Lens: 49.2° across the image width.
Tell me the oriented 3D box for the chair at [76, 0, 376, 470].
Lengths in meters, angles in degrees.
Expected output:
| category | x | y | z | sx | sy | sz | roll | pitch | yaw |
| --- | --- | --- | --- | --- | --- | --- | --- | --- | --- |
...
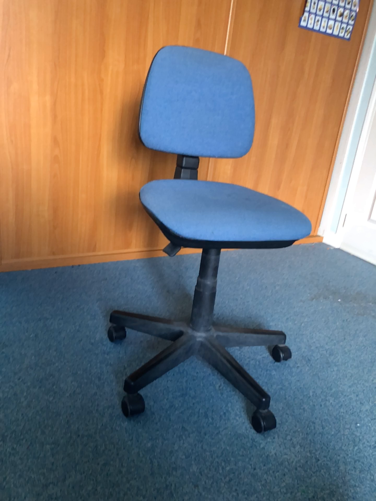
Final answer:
| category | x | y | z | sx | sy | sz | roll | pitch | yaw |
| --- | --- | --- | --- | --- | --- | --- | --- | --- | --- |
| chair | 0.080 | -0.103 | 1.185 | 0.652 | 0.916 | 0.762 | -1 | 21 | -24 |
